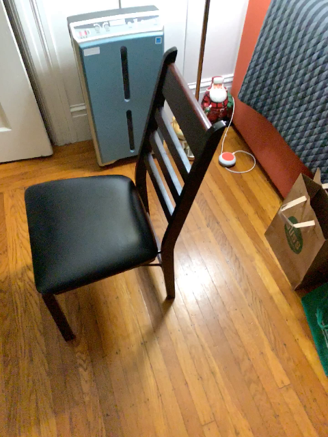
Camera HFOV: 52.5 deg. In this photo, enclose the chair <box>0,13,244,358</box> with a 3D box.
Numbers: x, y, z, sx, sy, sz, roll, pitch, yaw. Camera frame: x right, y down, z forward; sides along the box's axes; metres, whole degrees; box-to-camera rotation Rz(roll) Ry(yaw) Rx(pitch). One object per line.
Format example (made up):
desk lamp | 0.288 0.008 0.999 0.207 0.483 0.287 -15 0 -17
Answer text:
chair | -0.208 -0.022 1.025 0.550 0.866 0.492 -16 56 -13
